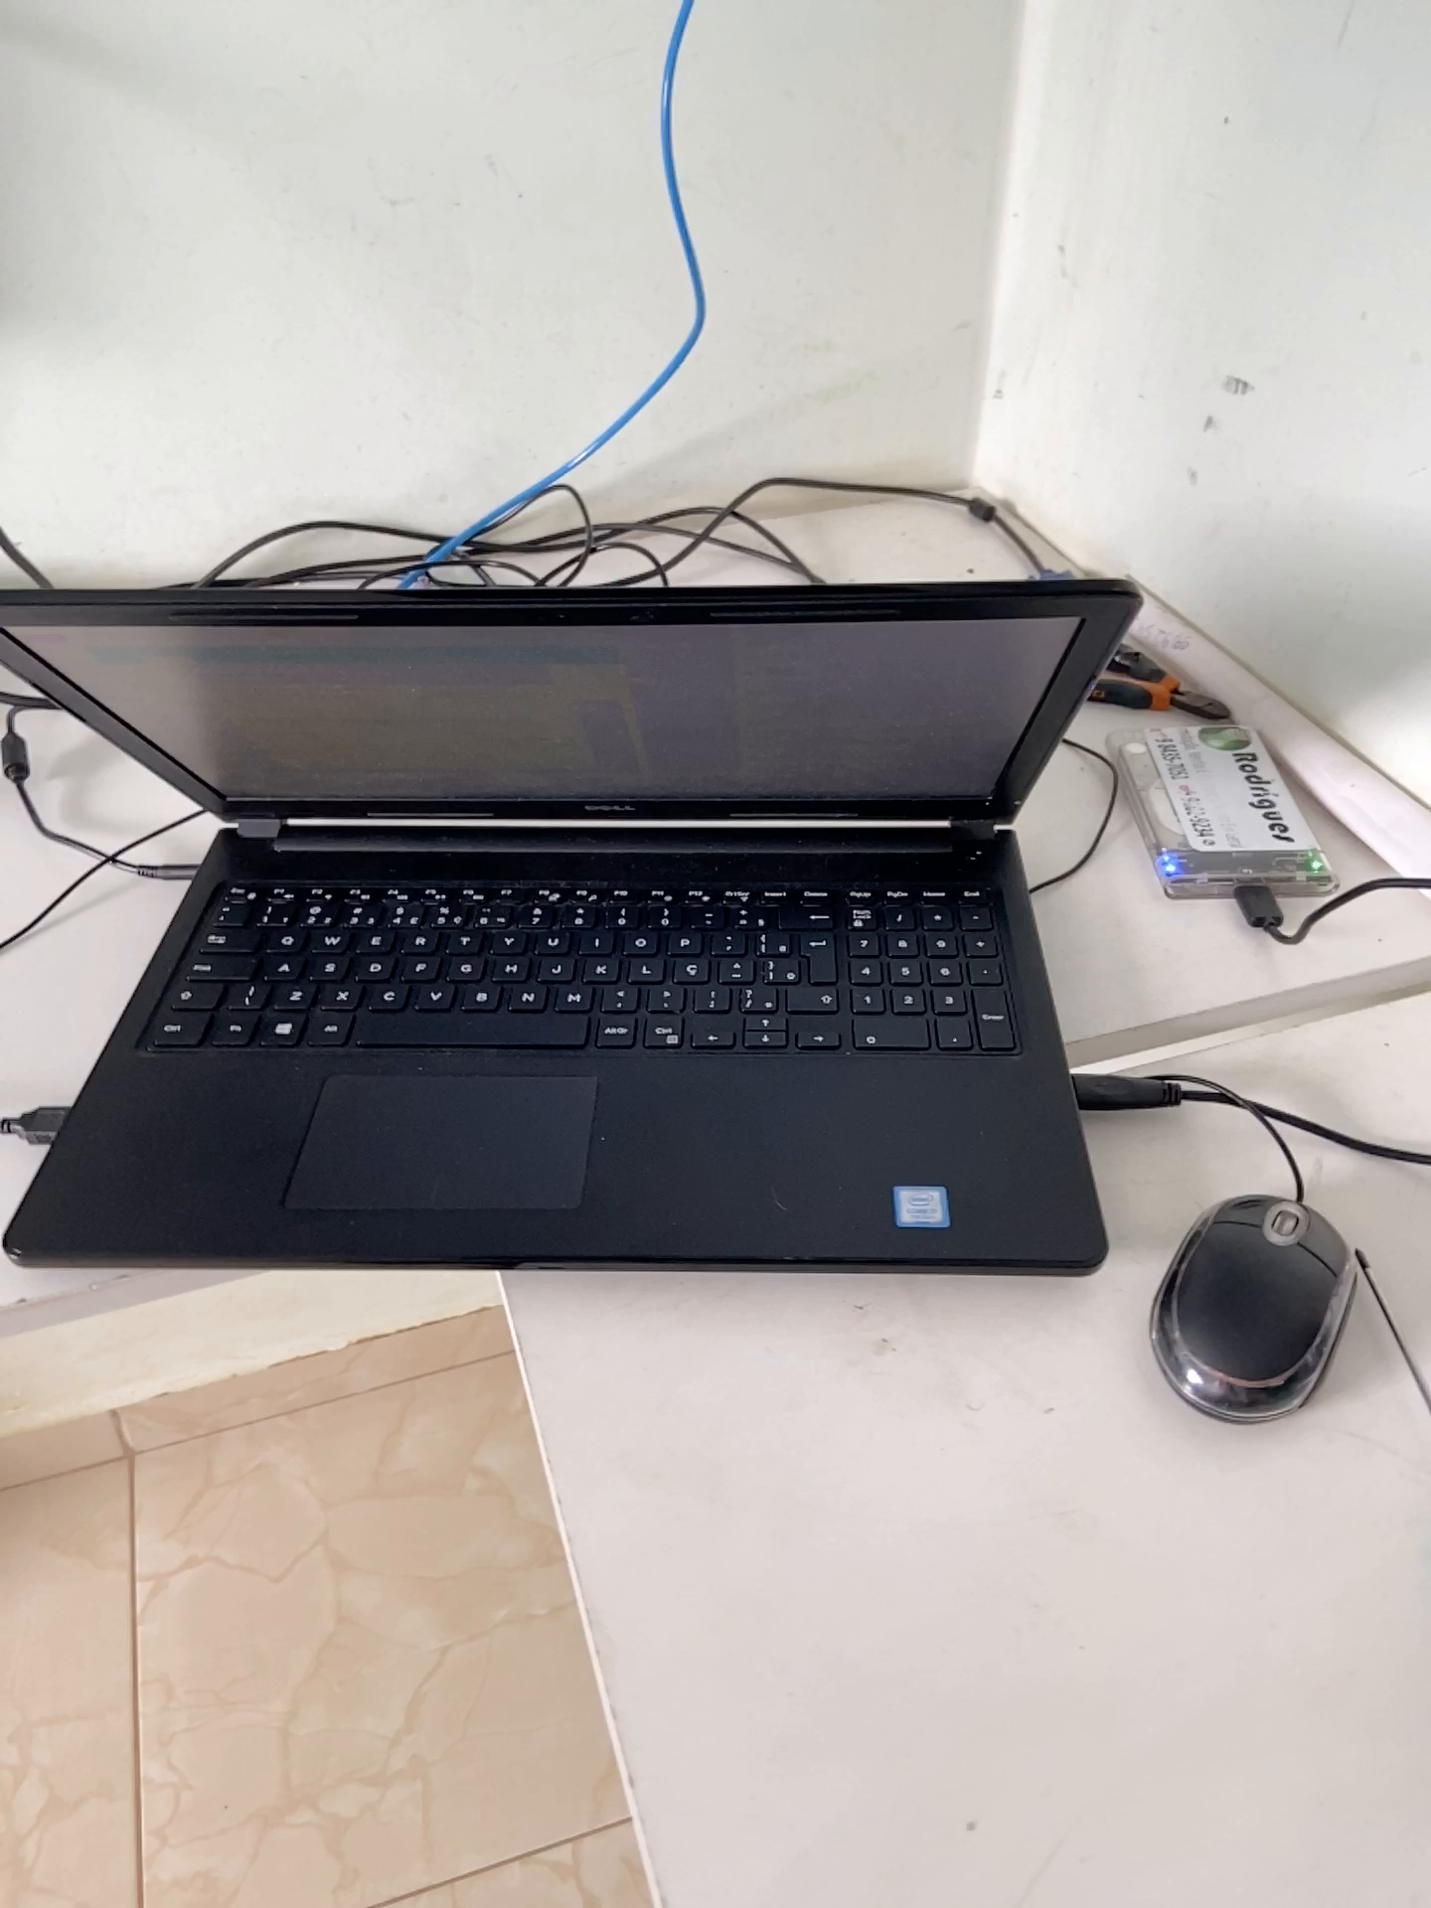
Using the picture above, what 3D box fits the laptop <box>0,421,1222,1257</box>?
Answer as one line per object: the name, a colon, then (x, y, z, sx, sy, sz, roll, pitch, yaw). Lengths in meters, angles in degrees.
laptop: (-0.051, -0.054, 0.539, 0.371, 0.192, 0.257, 1, 39, 0)
